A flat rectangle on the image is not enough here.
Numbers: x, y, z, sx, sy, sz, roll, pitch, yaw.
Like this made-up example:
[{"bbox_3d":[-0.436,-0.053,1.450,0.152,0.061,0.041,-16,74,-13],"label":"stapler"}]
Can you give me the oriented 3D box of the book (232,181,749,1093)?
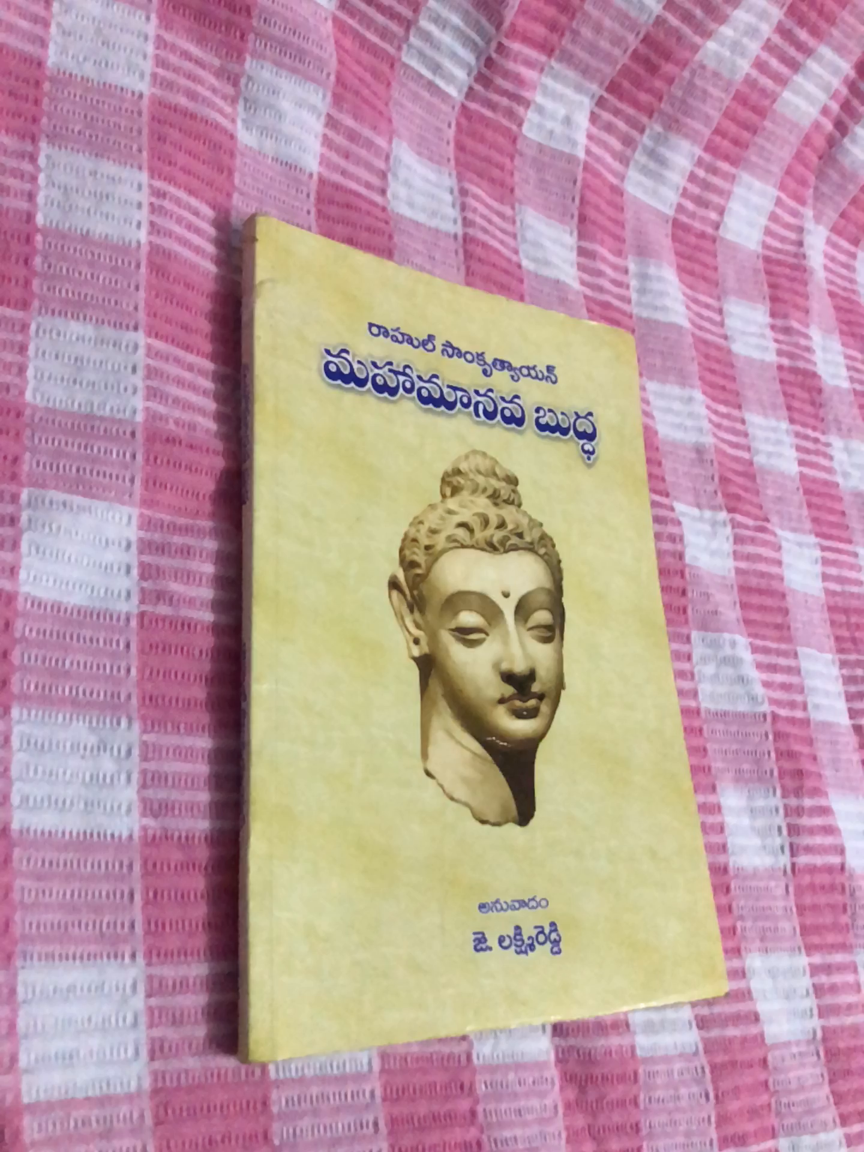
[{"bbox_3d":[0.016,0.009,0.268,0.141,0.020,0.220,8,68,-32],"label":"book"}]
